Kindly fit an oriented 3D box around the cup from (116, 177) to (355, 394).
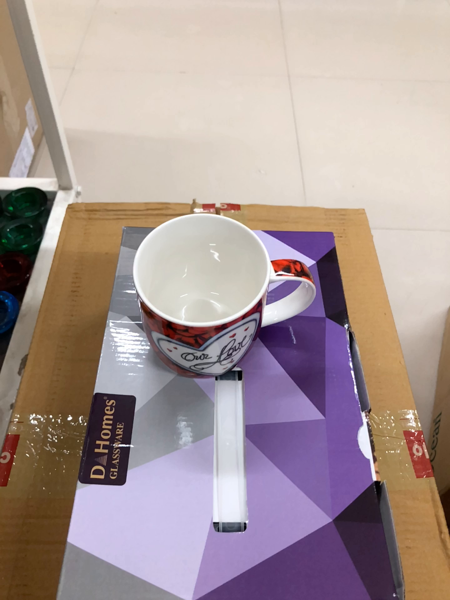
[{"bbox_3d":[0.001,-0.010,0.347,0.130,0.100,0.090,-9,53,-9],"label":"cup"}]
